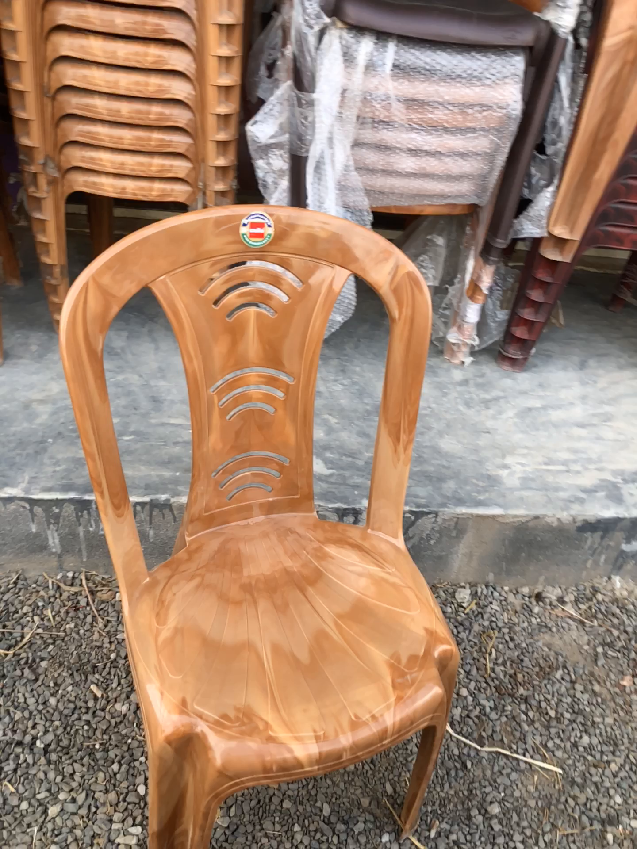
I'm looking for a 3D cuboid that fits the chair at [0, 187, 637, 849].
[{"bbox_3d":[-0.097,0.172,0.926,0.541,0.766,0.582,-9,40,-22],"label":"chair"}]
